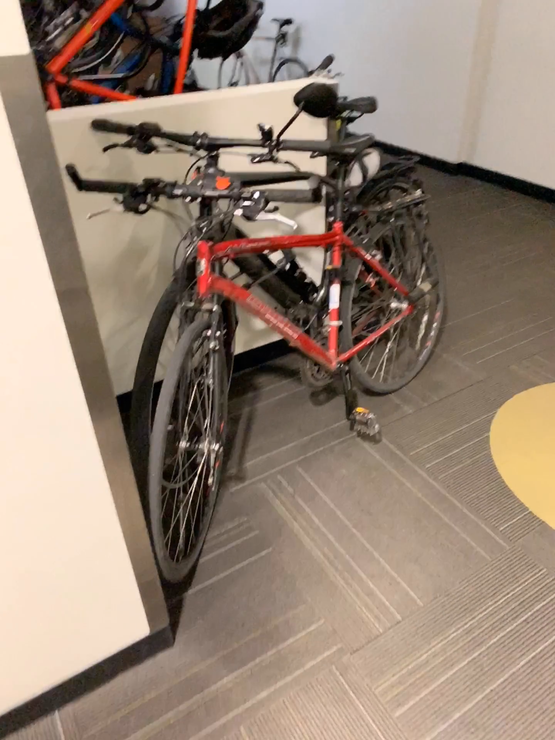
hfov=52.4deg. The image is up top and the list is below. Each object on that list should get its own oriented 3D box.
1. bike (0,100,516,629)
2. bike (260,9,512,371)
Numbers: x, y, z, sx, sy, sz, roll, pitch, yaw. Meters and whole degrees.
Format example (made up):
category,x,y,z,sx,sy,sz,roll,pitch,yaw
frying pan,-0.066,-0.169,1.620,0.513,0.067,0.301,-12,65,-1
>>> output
category,x,y,z,sx,sy,sz,roll,pitch,yaw
bike,0.129,-0.245,1.739,0.604,0.927,1.616,21,37,29
bike,0.421,-0.665,2.308,0.694,1.149,0.728,22,36,30
